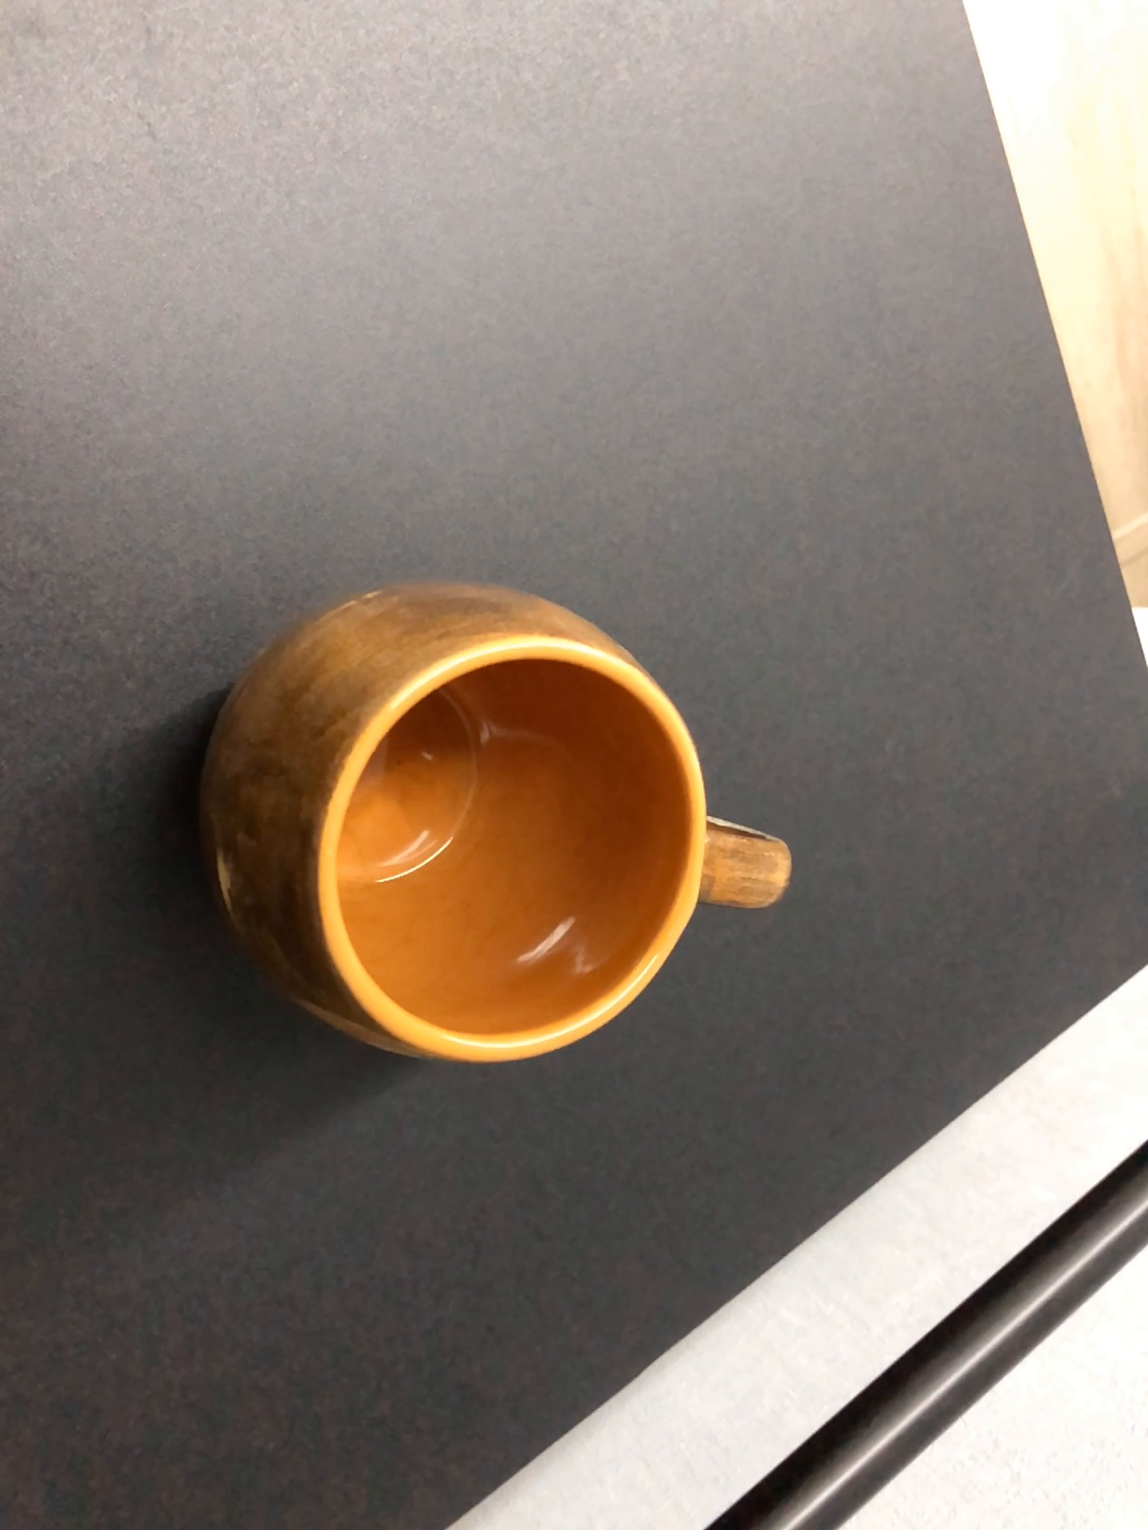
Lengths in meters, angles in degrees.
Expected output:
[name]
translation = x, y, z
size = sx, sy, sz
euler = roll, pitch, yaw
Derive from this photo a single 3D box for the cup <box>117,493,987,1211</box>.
[cup]
translation = -0.008, 0.017, 0.265
size = 0.132, 0.092, 0.092
euler = 23, 88, -27
